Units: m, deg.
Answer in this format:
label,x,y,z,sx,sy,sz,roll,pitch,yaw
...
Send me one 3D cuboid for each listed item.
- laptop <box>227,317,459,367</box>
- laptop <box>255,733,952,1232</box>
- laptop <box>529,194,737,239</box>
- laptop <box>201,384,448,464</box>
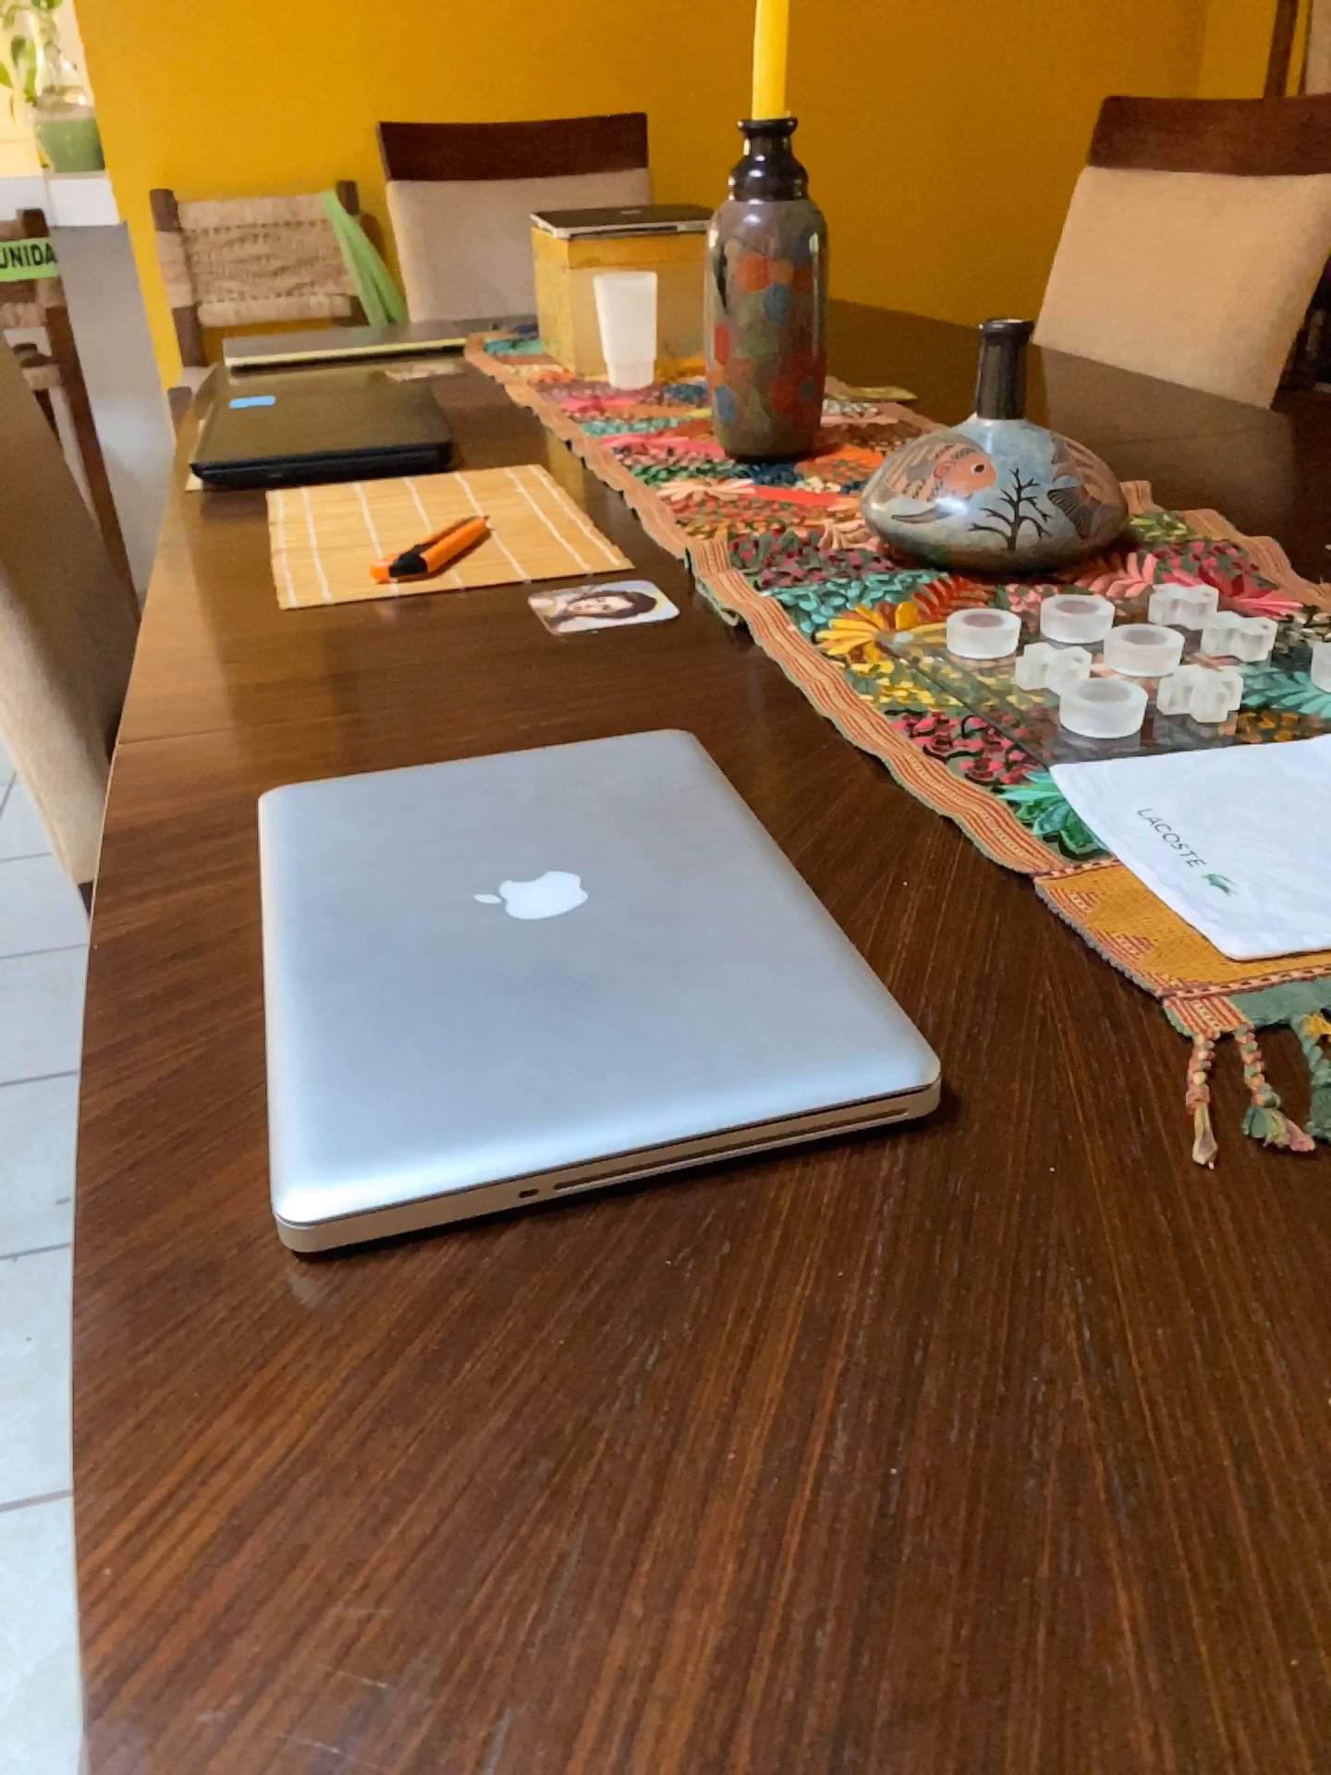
label,x,y,z,sx,sy,sz,roll,pitch,yaw
laptop,-0.536,-0.898,2.237,0.343,0.004,0.321,-13,31,-15
laptop,-0.055,0.012,0.588,0.232,0.002,0.325,-10,30,-12
laptop,-0.053,-0.885,1.795,0.214,0.011,0.310,-9,32,-7
laptop,-0.392,-0.536,1.567,0.254,0.012,0.303,-8,32,-13
